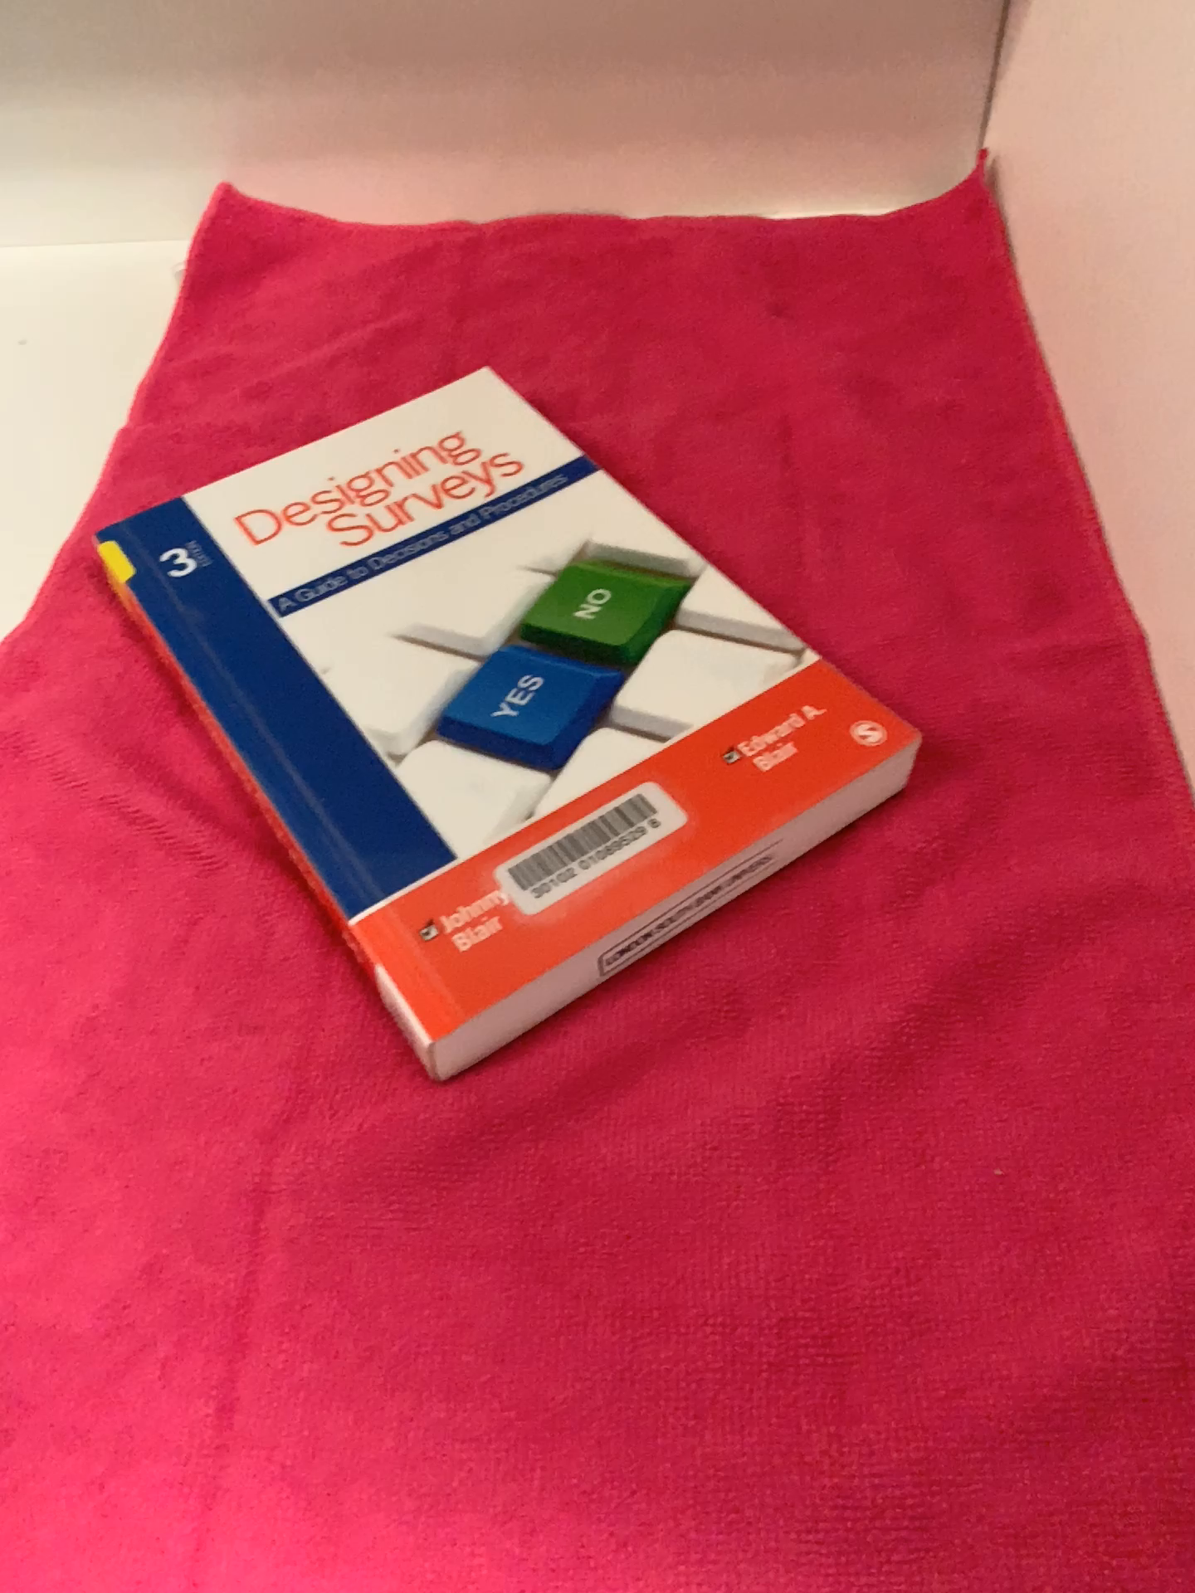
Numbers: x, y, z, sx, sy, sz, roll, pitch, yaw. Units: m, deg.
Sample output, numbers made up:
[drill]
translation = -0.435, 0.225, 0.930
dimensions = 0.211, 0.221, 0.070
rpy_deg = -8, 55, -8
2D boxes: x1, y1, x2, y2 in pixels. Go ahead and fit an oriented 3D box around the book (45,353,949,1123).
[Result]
[book]
translation = -0.040, -0.042, 0.361
dimensions = 0.160, 0.026, 0.231
rpy_deg = -30, 56, -21
